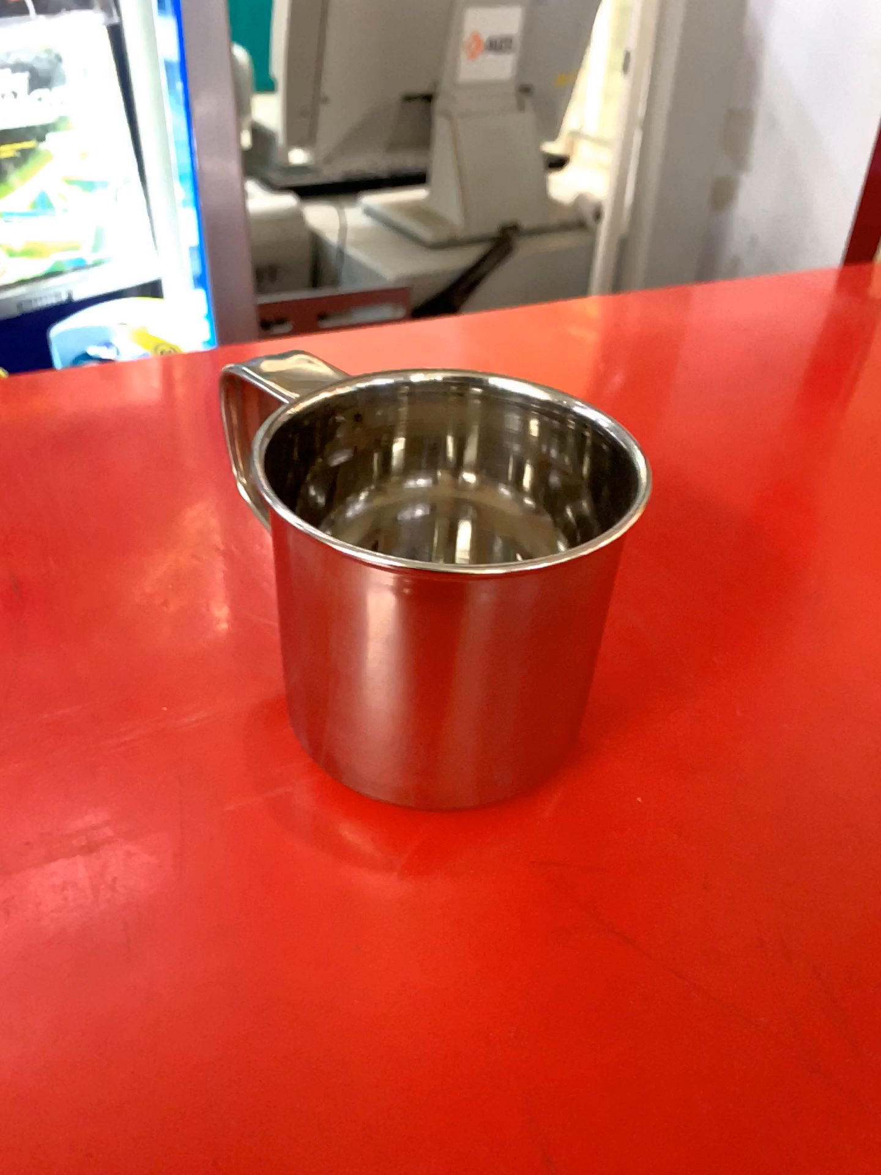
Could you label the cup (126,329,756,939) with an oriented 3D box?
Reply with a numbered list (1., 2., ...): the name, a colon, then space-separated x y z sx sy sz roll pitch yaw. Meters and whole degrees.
1. cup: -0.005 0.000 0.215 0.080 0.069 0.111 -25 45 -32
